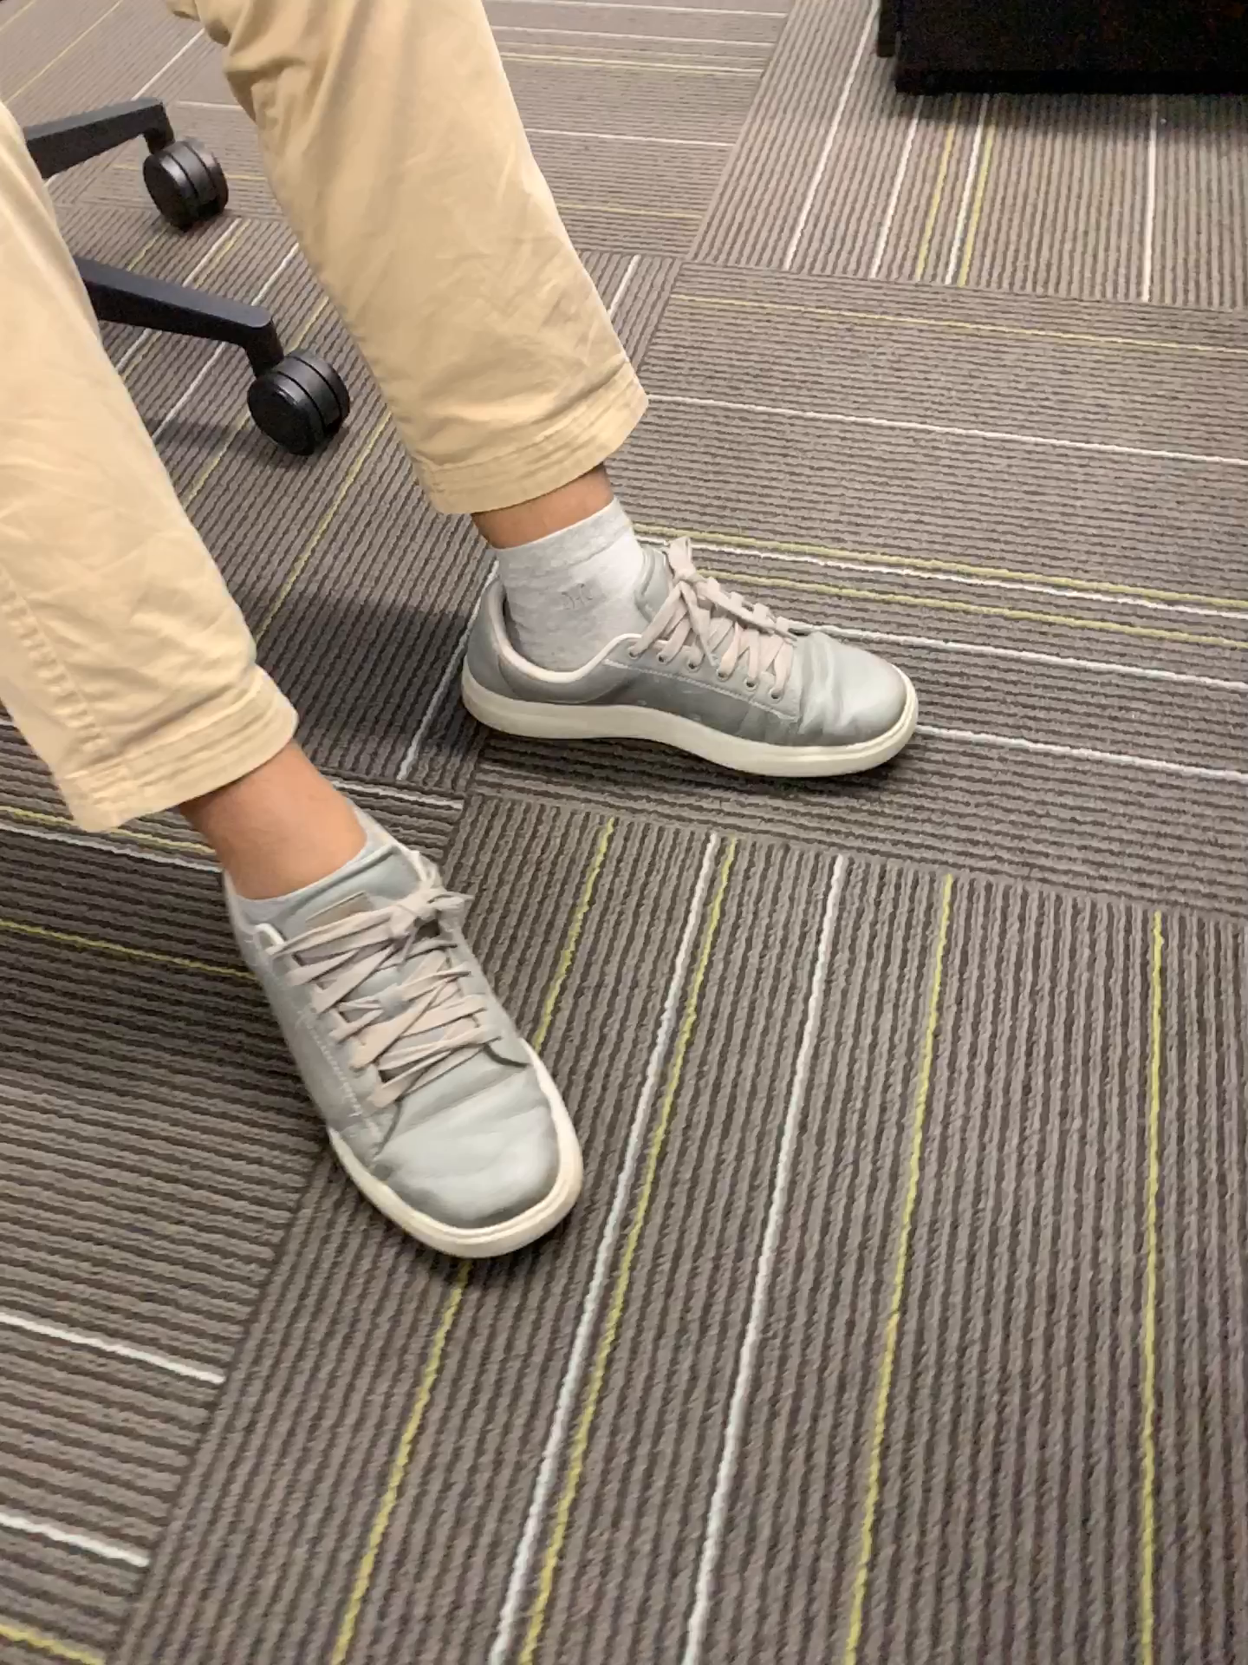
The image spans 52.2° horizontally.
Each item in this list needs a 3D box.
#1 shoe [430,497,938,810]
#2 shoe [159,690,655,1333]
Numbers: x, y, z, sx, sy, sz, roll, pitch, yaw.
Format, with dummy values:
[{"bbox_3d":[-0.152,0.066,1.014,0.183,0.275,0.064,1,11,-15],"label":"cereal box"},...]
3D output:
[{"bbox_3d":[0.040,-0.113,0.790,0.280,0.110,0.120,8,54,10],"label":"shoe"},{"bbox_3d":[-0.110,0.083,0.647,0.120,0.139,0.271,-28,56,-16],"label":"shoe"}]
